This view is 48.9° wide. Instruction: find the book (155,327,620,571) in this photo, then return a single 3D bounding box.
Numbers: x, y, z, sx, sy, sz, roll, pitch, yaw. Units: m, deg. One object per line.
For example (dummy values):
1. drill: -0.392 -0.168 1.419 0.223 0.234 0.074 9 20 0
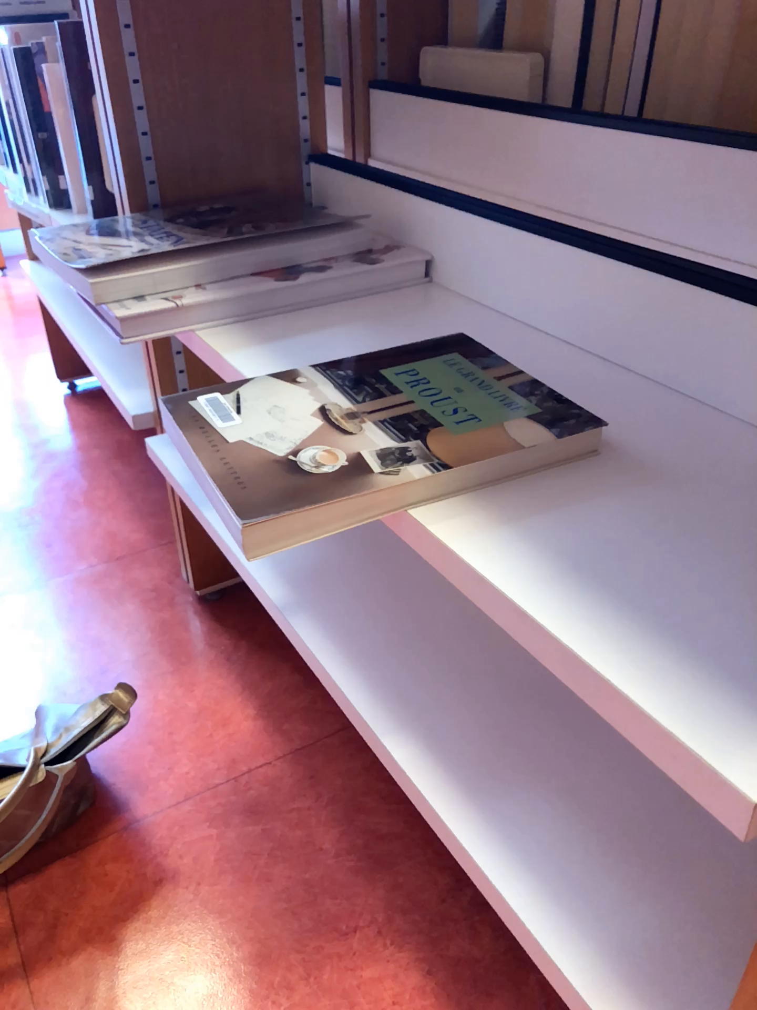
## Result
1. book: -0.002 -0.052 0.541 0.245 0.030 0.181 -16 34 -20
